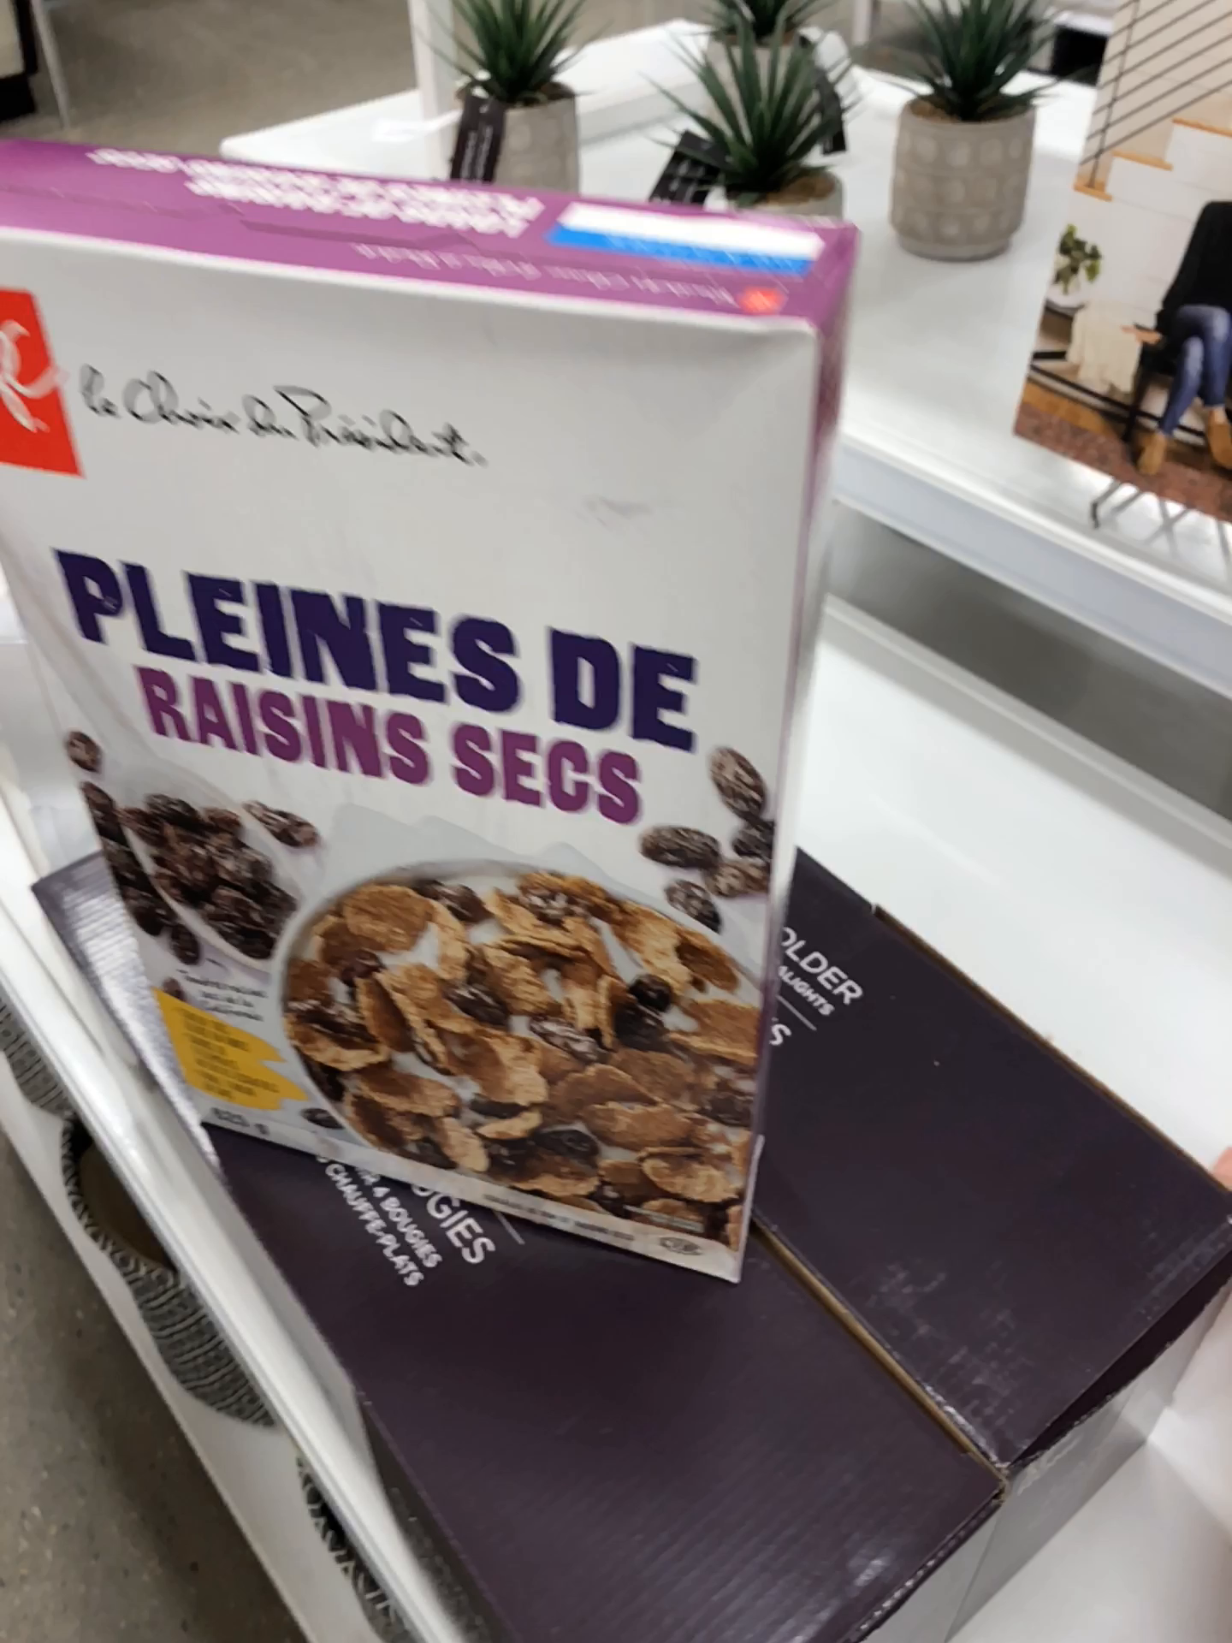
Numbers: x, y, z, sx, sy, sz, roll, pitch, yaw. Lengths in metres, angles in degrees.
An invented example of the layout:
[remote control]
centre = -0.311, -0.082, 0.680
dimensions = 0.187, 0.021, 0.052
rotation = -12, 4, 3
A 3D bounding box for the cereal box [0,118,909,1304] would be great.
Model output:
[cereal box]
centre = -0.048, -0.005, 0.358
dimensions = 0.200, 0.299, 0.060
rotation = 13, 45, 15
